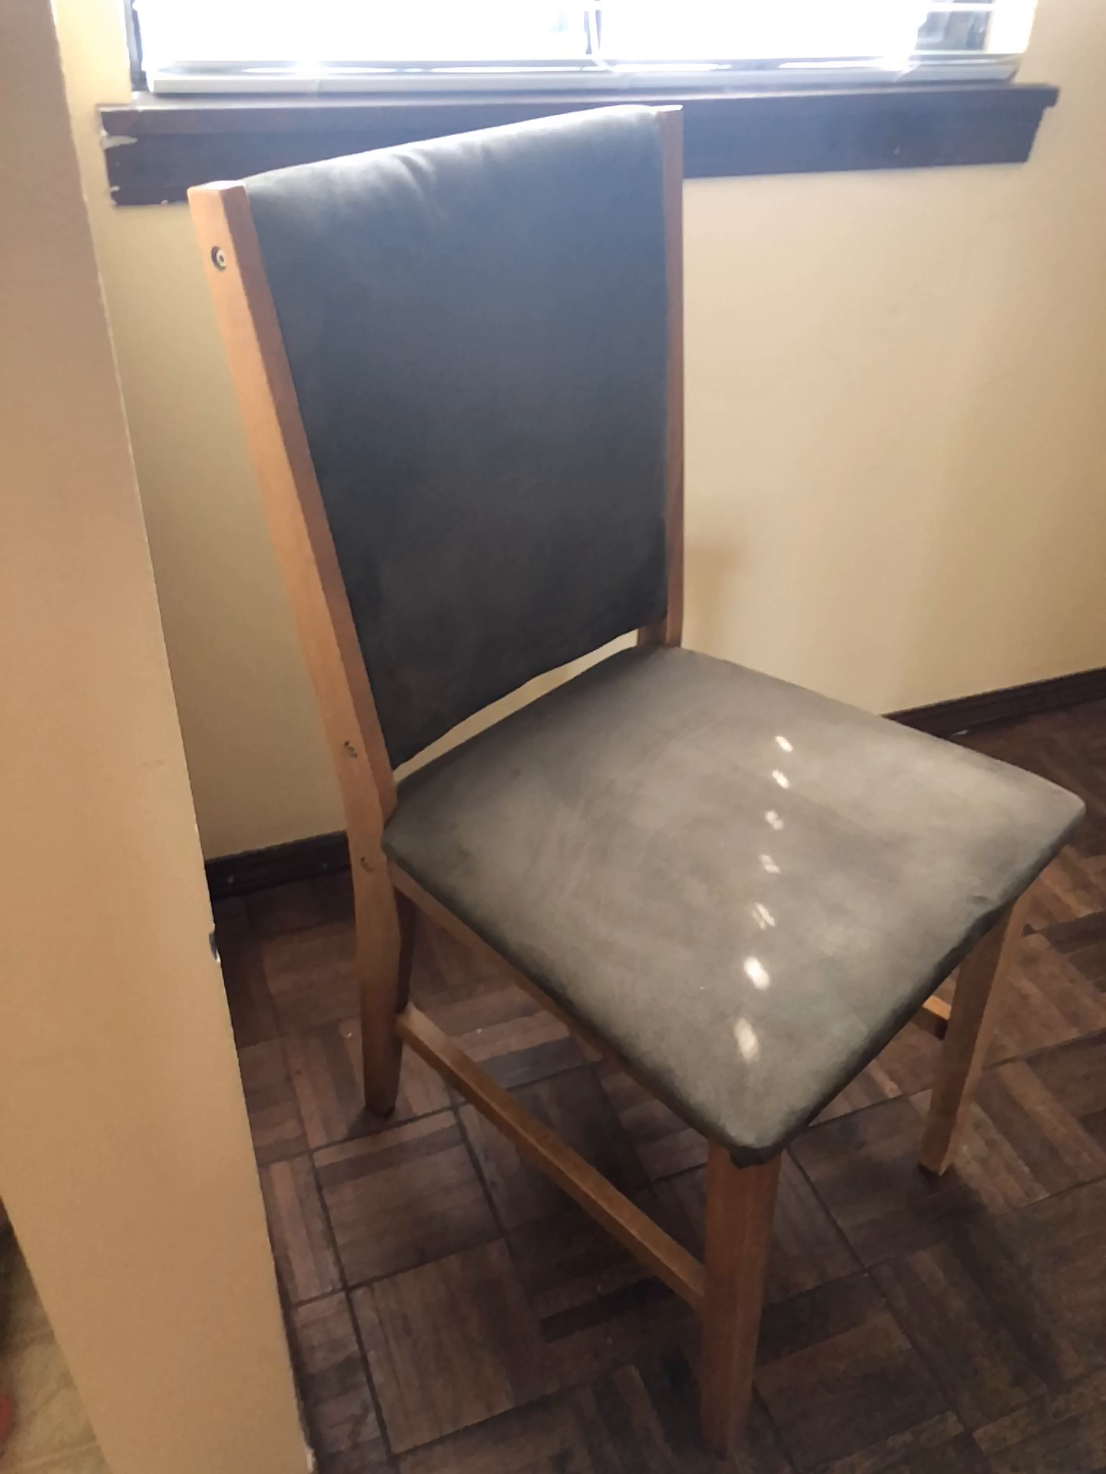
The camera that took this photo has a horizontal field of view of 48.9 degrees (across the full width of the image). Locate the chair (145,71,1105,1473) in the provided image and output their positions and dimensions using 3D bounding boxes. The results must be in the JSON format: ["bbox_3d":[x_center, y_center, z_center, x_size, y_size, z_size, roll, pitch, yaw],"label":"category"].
[{"bbox_3d":[0.120,0.001,0.954,0.510,0.858,0.491,26,42,34],"label":"chair"}]
